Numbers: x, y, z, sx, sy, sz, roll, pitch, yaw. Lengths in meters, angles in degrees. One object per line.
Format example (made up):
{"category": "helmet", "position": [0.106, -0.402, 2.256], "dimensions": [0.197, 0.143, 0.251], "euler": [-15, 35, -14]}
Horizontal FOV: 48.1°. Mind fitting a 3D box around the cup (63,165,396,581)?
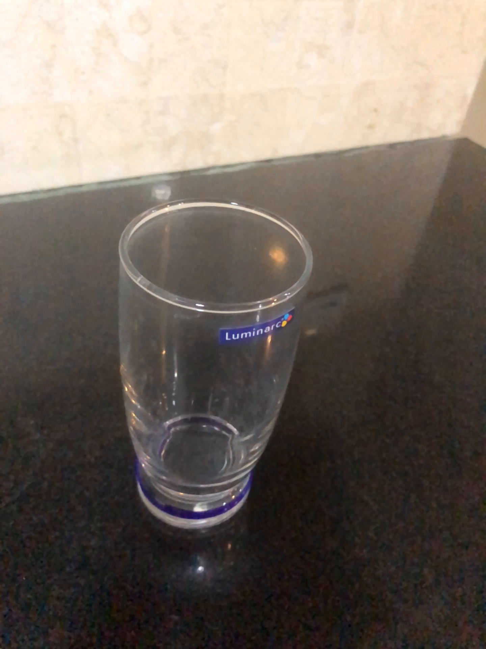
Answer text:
{"category": "cup", "position": [-0.012, 0.019, 0.224], "dimensions": [0.080, 0.129, 0.080], "euler": [4, 40, -4]}
